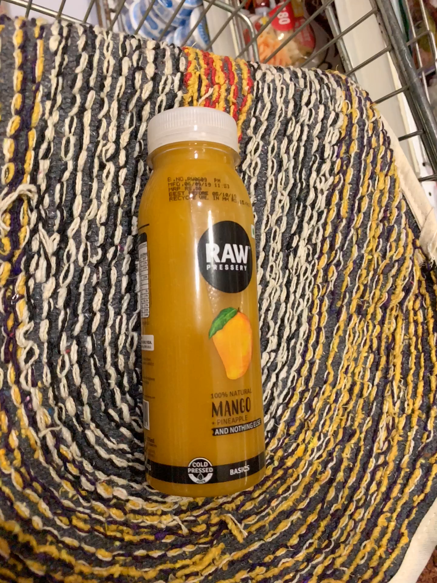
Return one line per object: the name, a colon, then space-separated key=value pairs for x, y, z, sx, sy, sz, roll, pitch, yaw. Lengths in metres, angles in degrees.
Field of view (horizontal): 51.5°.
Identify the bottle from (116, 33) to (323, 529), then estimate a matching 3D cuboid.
bottle: x=-0.003 y=-0.005 z=0.191 sx=0.060 sy=0.050 sz=0.170 roll=0 pitch=83 yaw=-31
